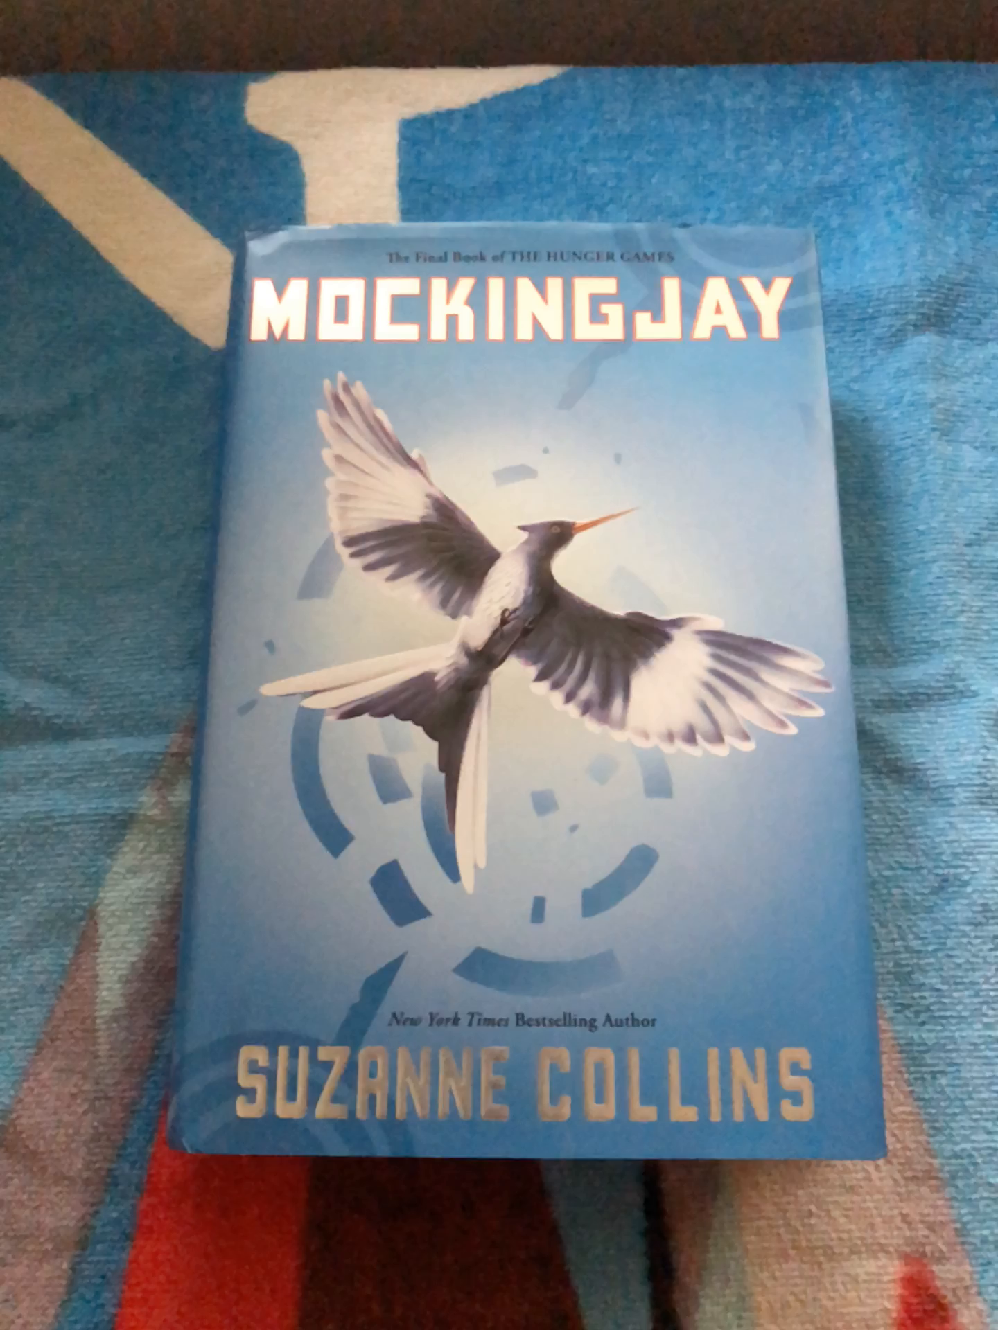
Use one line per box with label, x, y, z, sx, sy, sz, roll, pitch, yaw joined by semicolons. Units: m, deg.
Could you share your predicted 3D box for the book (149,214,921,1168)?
book;0.007;-0.001;0.247;0.140;0.040;0.200;0;75;2
